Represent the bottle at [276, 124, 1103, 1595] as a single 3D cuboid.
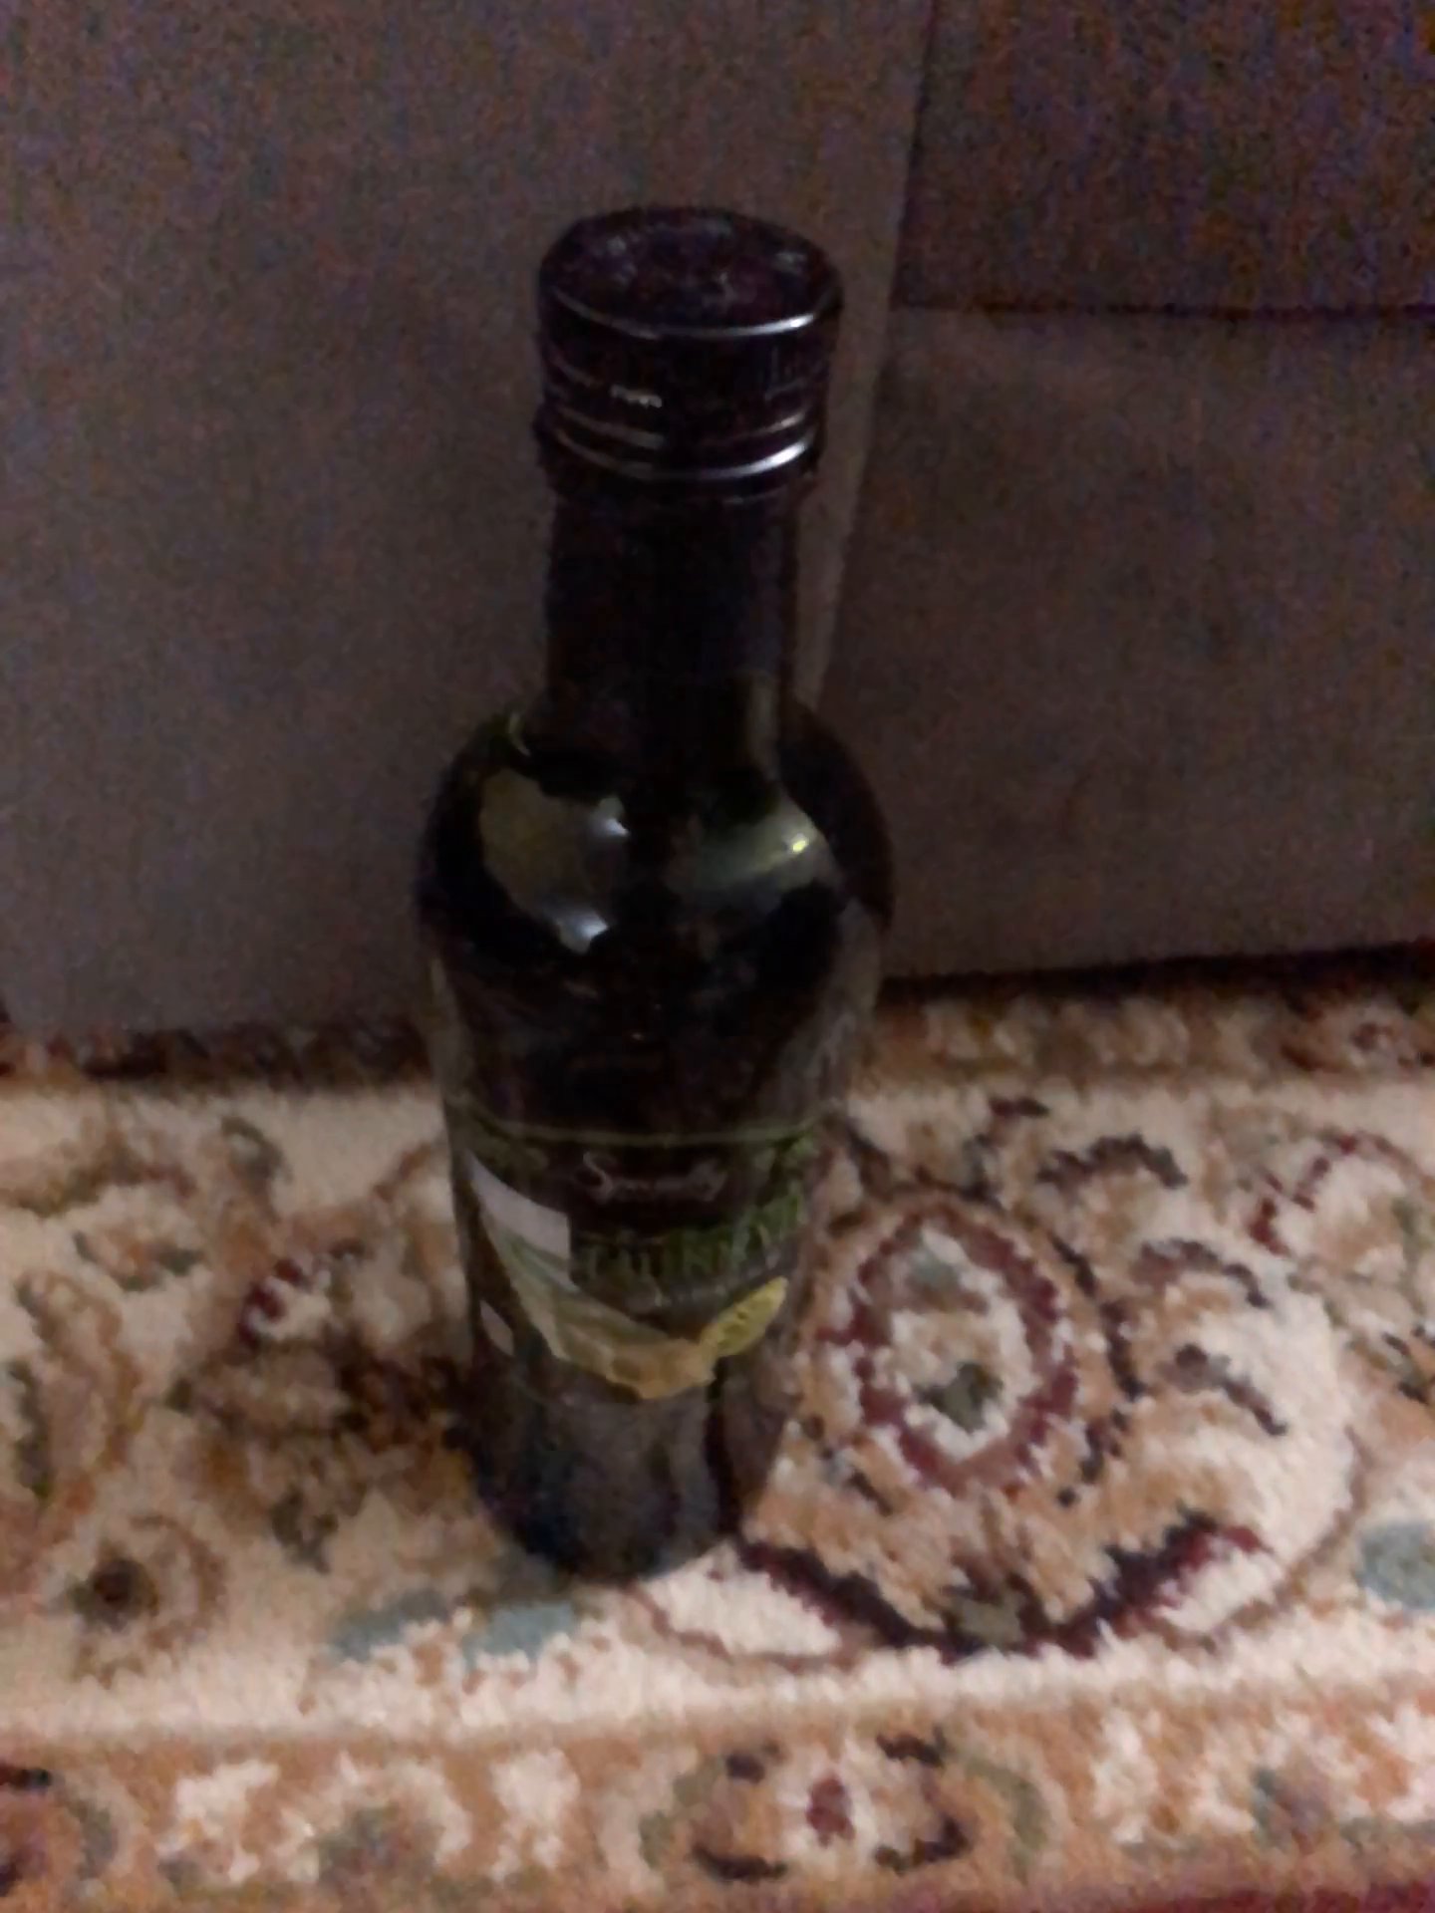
[{"bbox_3d":[-0.010,0.012,0.270,0.080,0.260,0.070,-3,44,-6],"label":"bottle"}]
